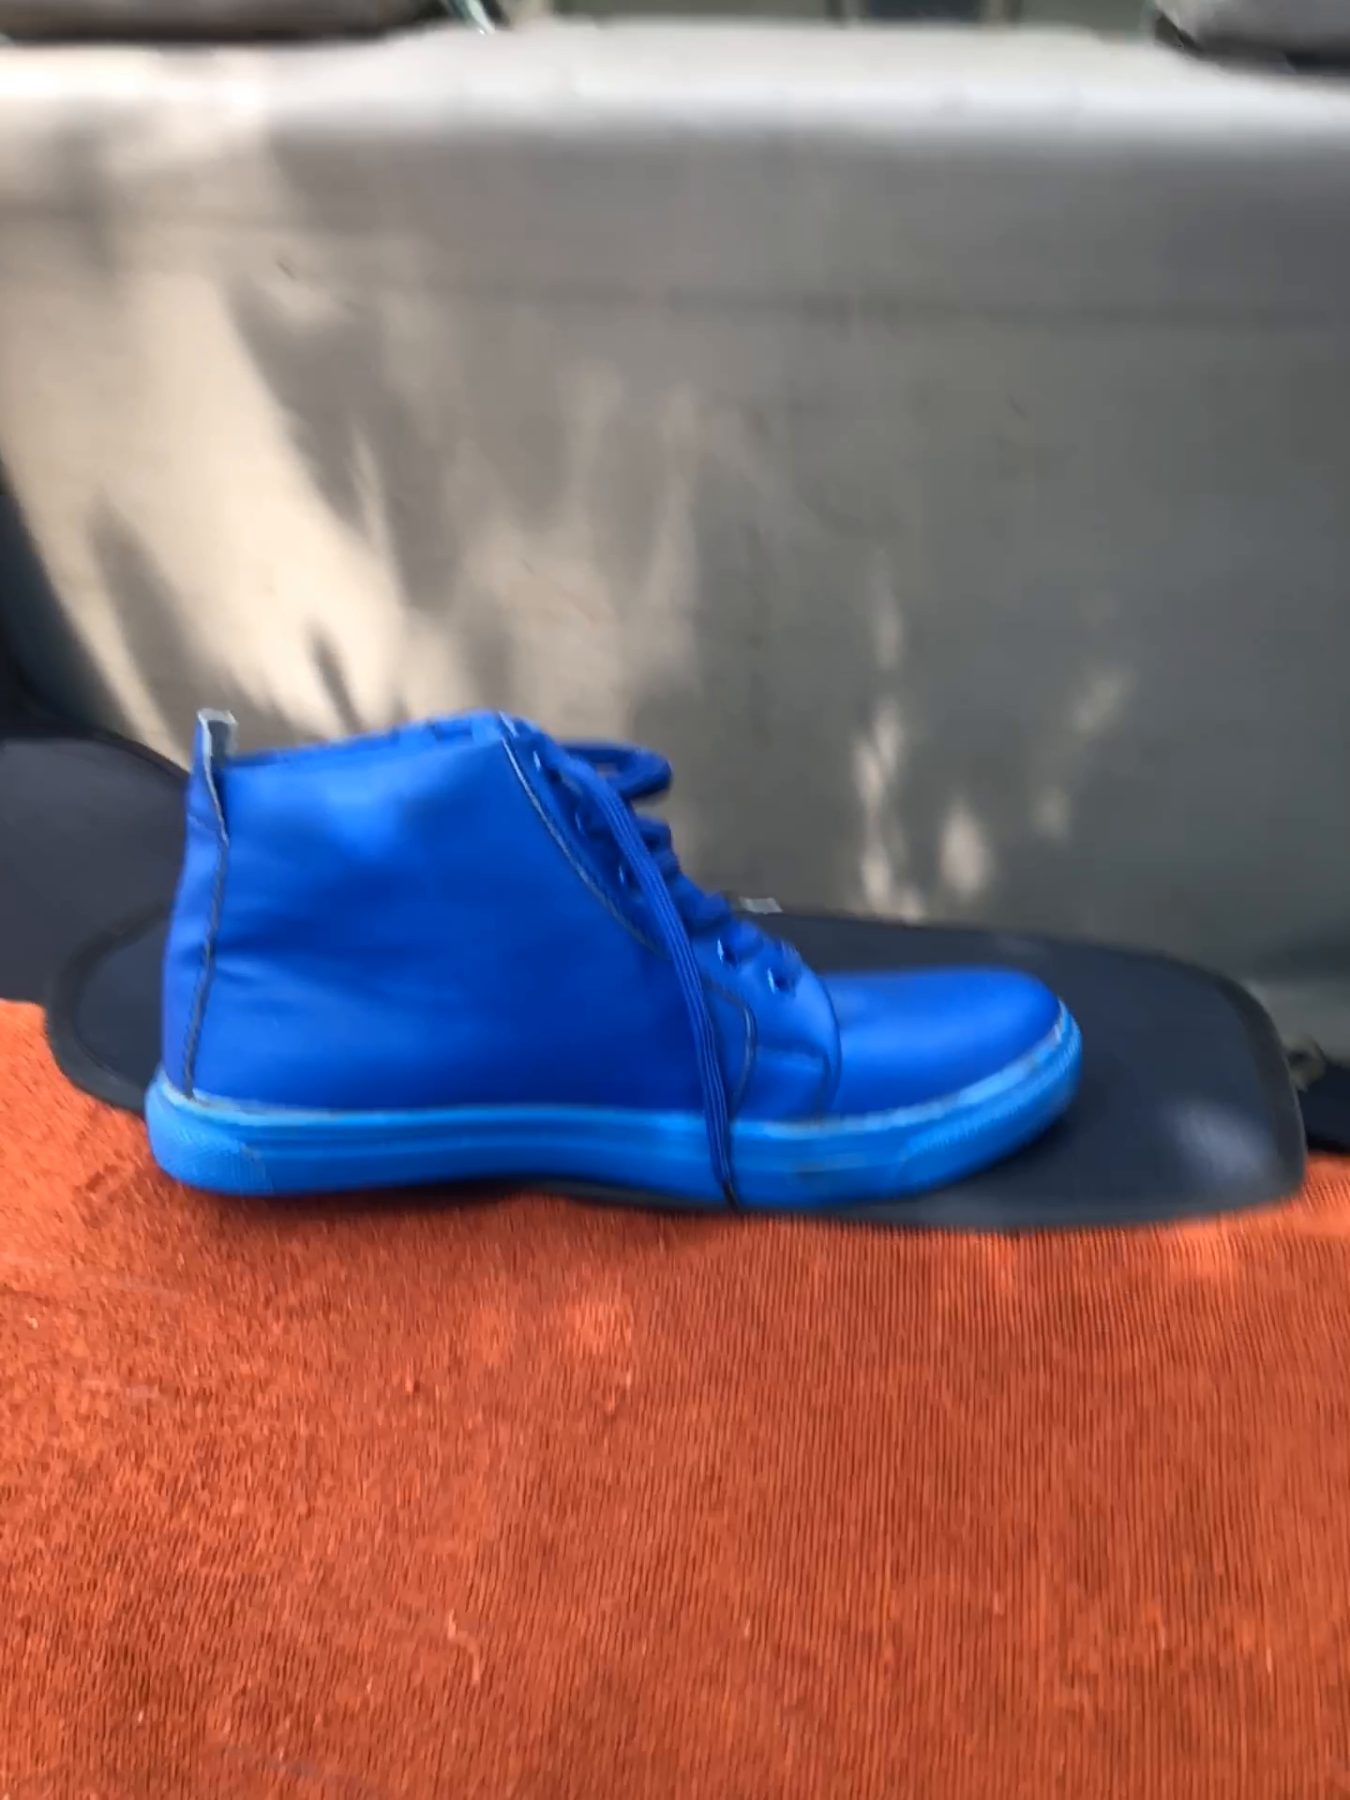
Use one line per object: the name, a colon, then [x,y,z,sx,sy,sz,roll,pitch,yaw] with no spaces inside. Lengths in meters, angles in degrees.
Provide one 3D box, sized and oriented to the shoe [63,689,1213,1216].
shoe: [-0.012,0.010,0.467,0.300,0.120,0.130,1,18,-7]
